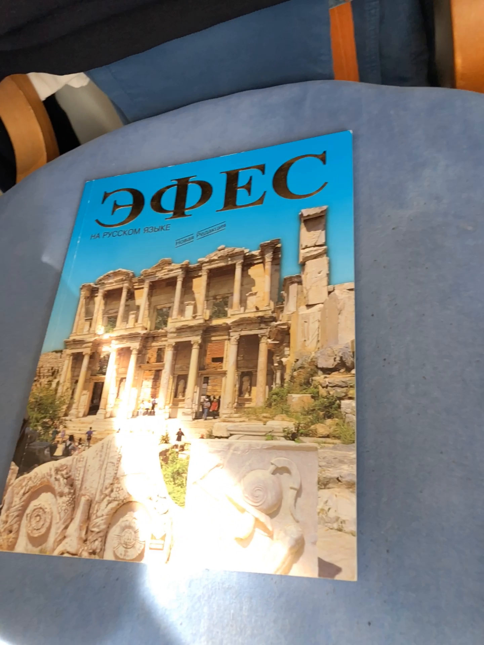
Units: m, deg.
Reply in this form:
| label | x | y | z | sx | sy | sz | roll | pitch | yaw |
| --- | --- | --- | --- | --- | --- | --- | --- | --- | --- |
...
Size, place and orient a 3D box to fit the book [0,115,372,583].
| label | x | y | z | sx | sy | sz | roll | pitch | yaw |
| --- | --- | --- | --- | --- | --- | --- | --- | --- | --- |
| book | -0.033 | 0.002 | 0.296 | 0.196 | 0.020 | 0.241 | -4 | 64 | 19 |
